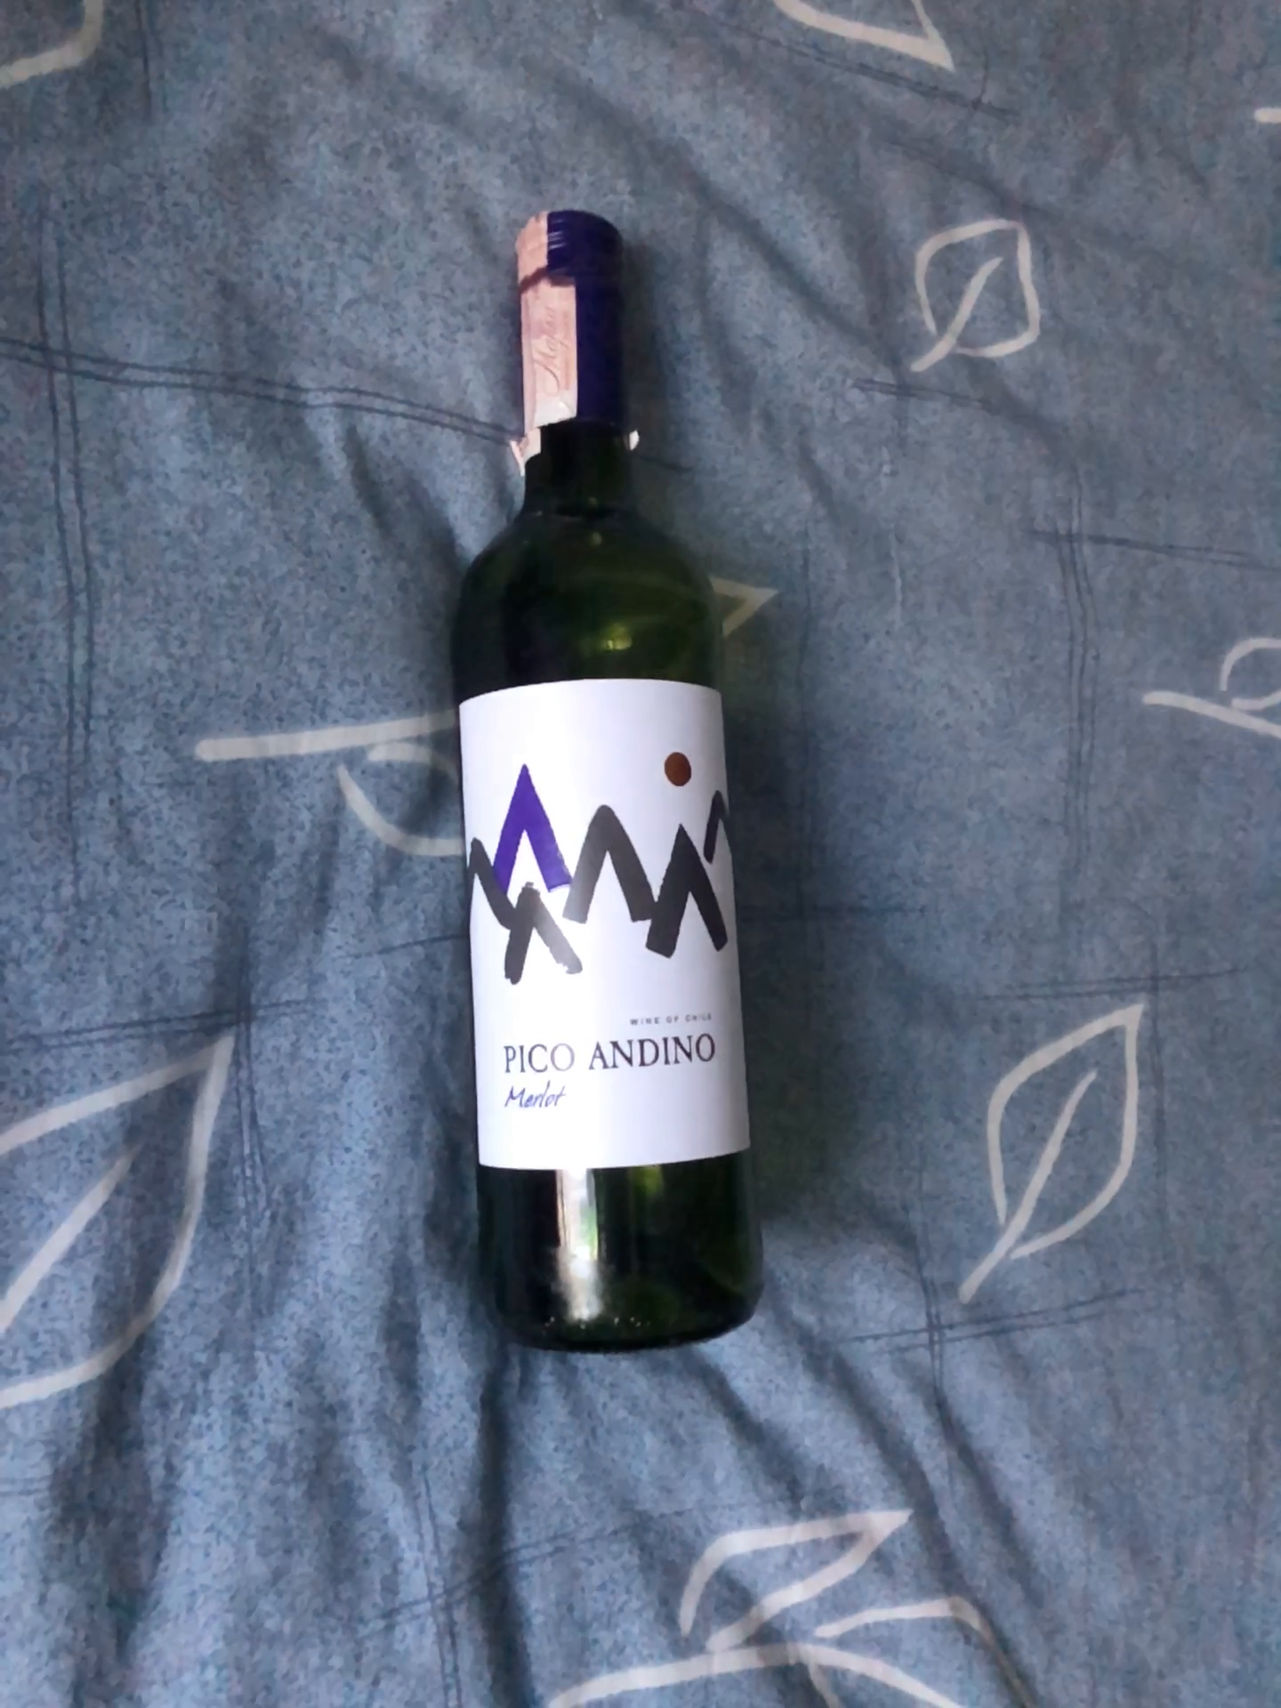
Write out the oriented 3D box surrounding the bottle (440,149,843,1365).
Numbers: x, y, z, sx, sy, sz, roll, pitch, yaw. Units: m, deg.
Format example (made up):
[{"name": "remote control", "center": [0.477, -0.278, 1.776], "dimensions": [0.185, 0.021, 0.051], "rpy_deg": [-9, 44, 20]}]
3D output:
[{"name": "bottle", "center": [-0.006, -0.026, 0.379], "dimensions": [0.080, 0.080, 0.290], "rpy_deg": [-3, 85, -9]}]
